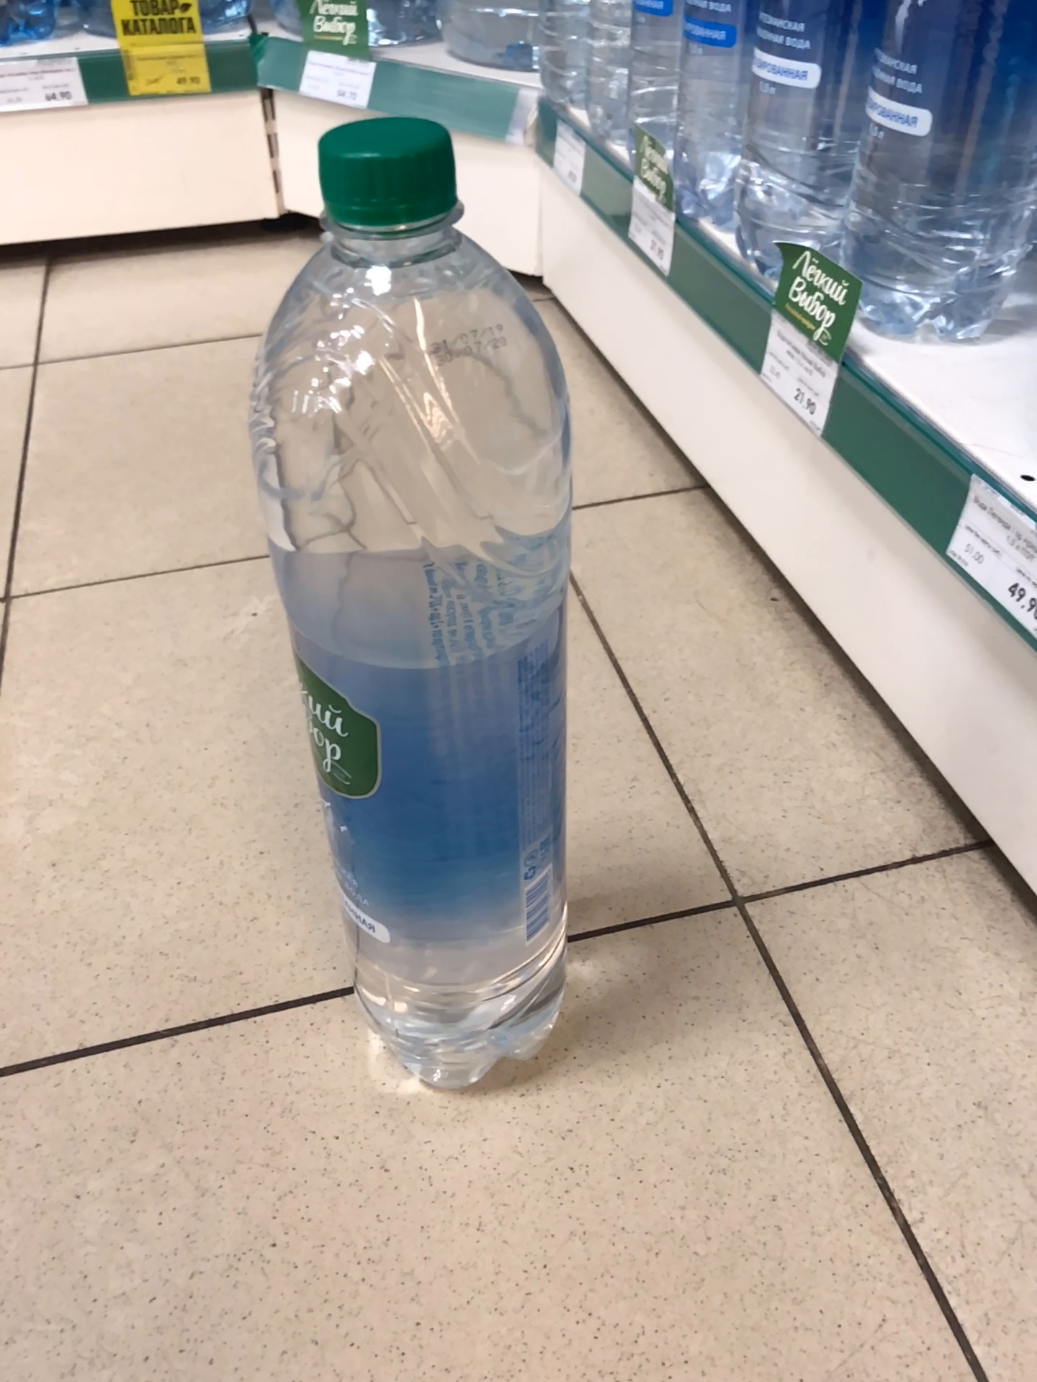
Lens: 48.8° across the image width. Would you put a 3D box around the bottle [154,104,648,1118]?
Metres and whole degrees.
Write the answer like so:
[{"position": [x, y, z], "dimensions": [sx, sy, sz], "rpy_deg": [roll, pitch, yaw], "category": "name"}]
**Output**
[{"position": [-0.027, -0.001, 0.351], "dimensions": [0.086, 0.299, 0.089], "rpy_deg": [-1, 40, 1], "category": "bottle"}]
